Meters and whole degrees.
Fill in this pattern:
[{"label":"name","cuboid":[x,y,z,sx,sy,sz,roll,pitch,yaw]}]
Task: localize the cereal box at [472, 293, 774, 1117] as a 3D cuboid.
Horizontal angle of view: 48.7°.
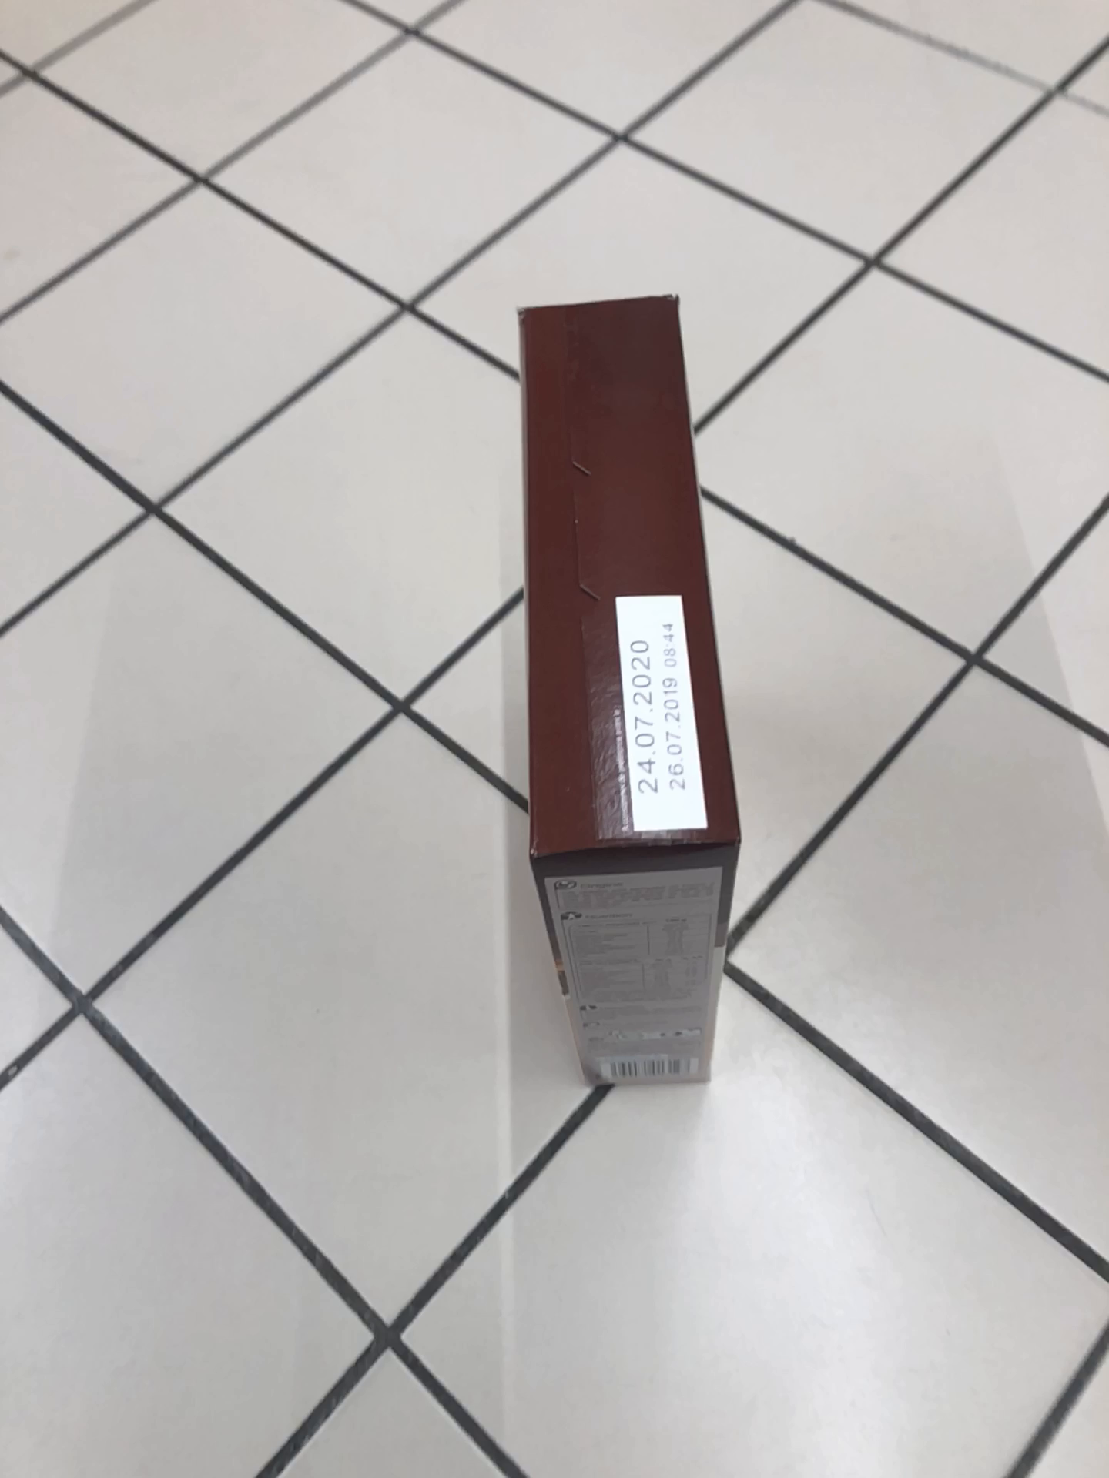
[{"label":"cereal box","cuboid":[0.022,0.006,0.444,0.070,0.239,0.201,-4,61,3]}]
